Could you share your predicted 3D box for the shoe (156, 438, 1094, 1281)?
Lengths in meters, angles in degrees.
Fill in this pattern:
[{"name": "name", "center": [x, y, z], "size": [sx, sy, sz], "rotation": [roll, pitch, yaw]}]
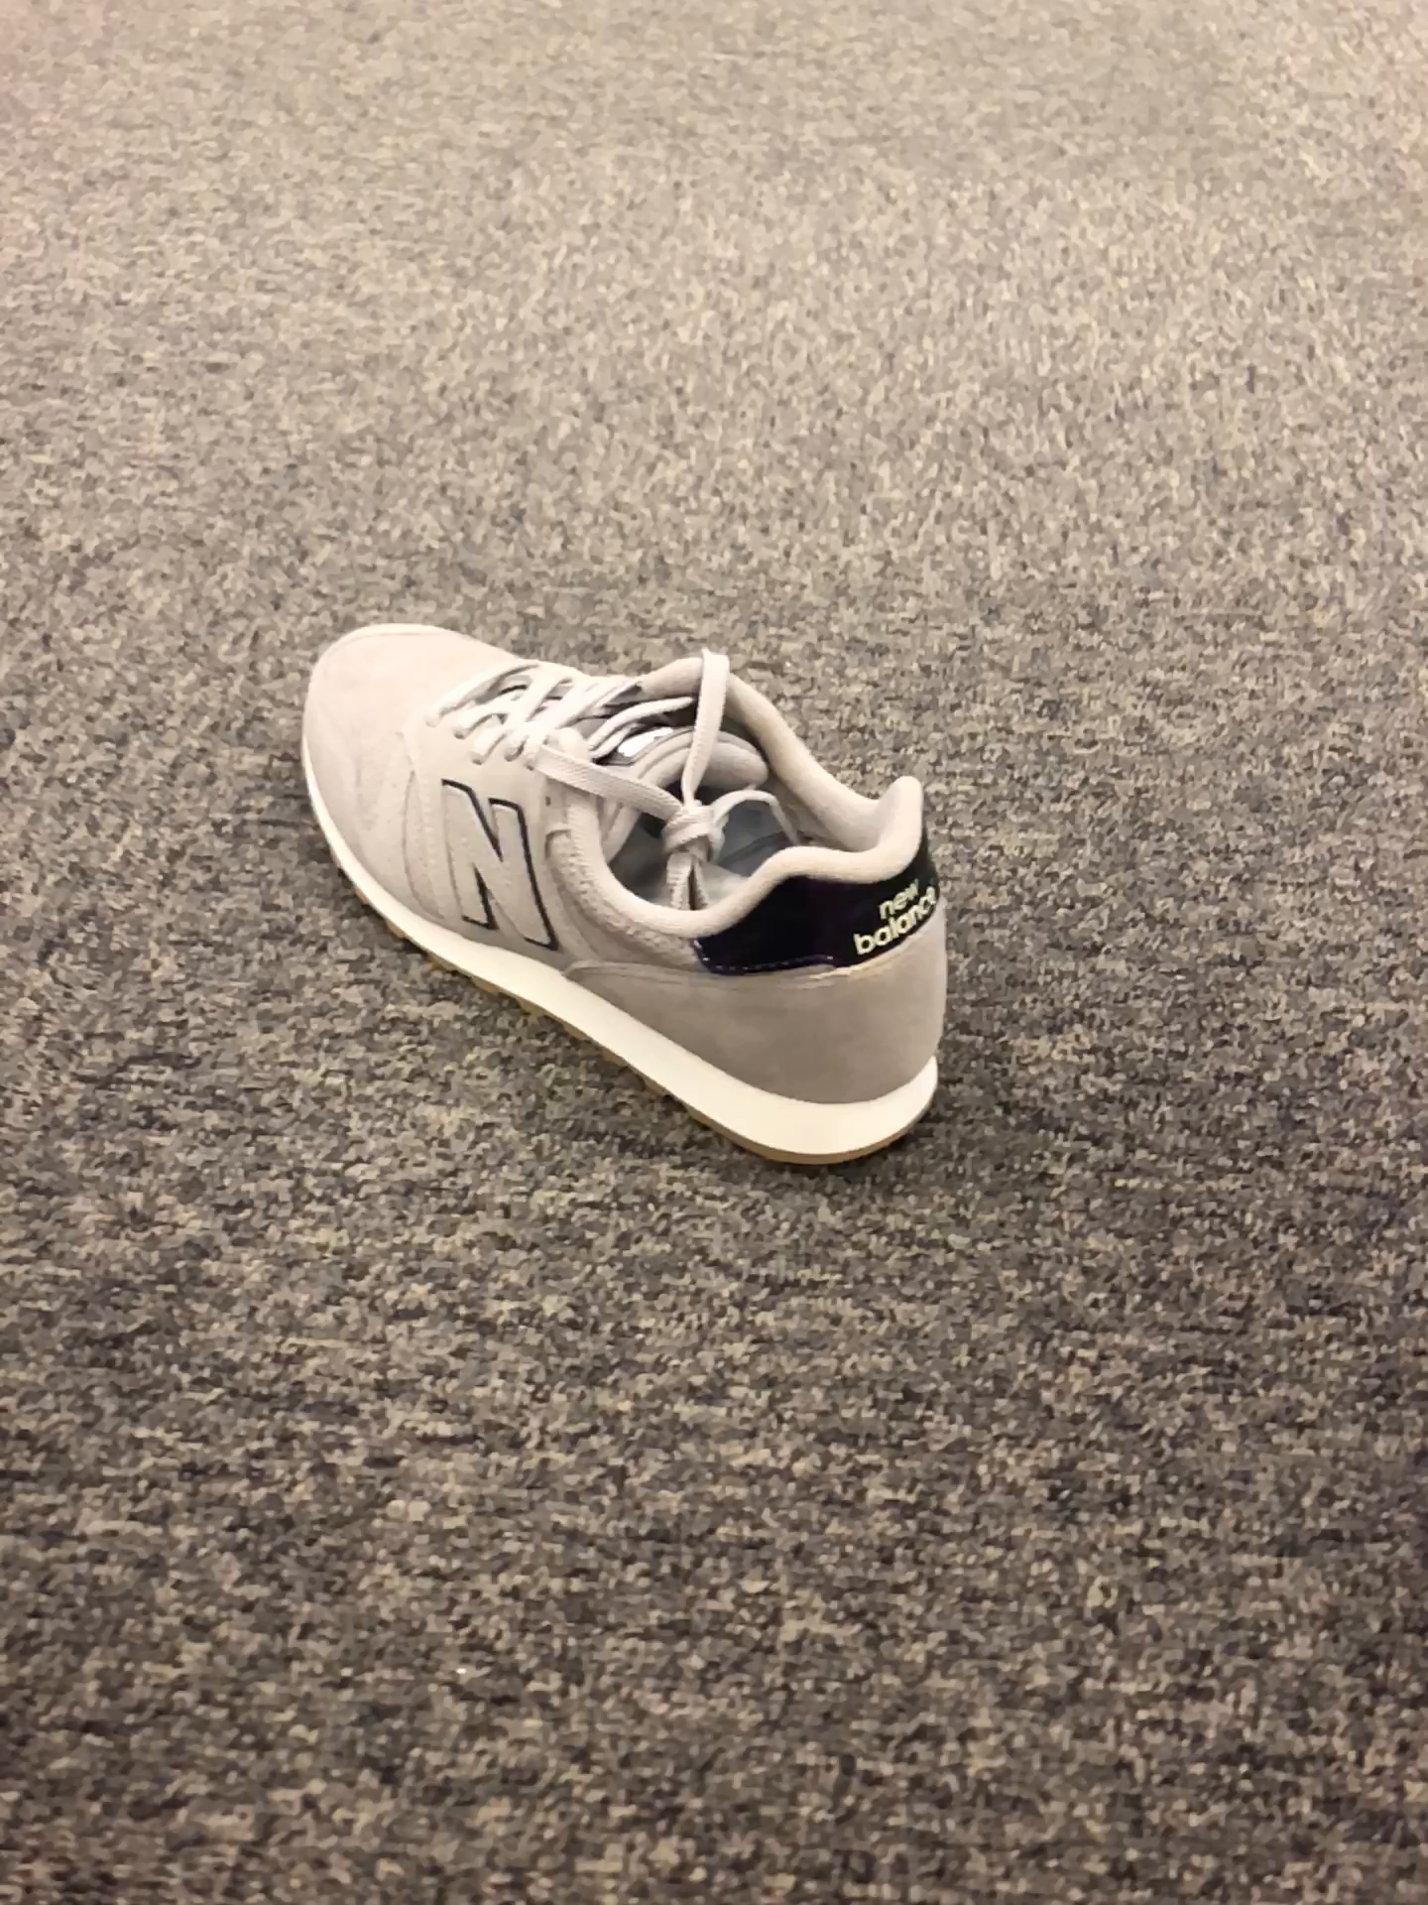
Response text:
[{"name": "shoe", "center": [-0.036, -0.041, 0.465], "size": [0.260, 0.109, 0.101], "rotation": [33, 53, 29]}]
